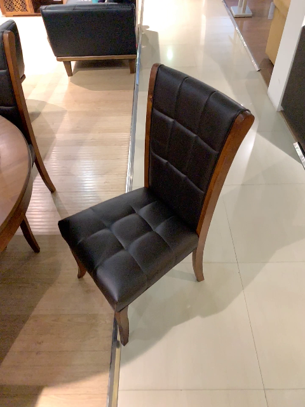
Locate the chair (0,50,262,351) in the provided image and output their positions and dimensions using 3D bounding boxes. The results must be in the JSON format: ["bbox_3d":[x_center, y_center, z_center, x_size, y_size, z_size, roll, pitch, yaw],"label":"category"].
[{"bbox_3d":[-0.073,0.027,1.258,0.600,0.937,0.531,-31,53,-23],"label":"chair"}]
